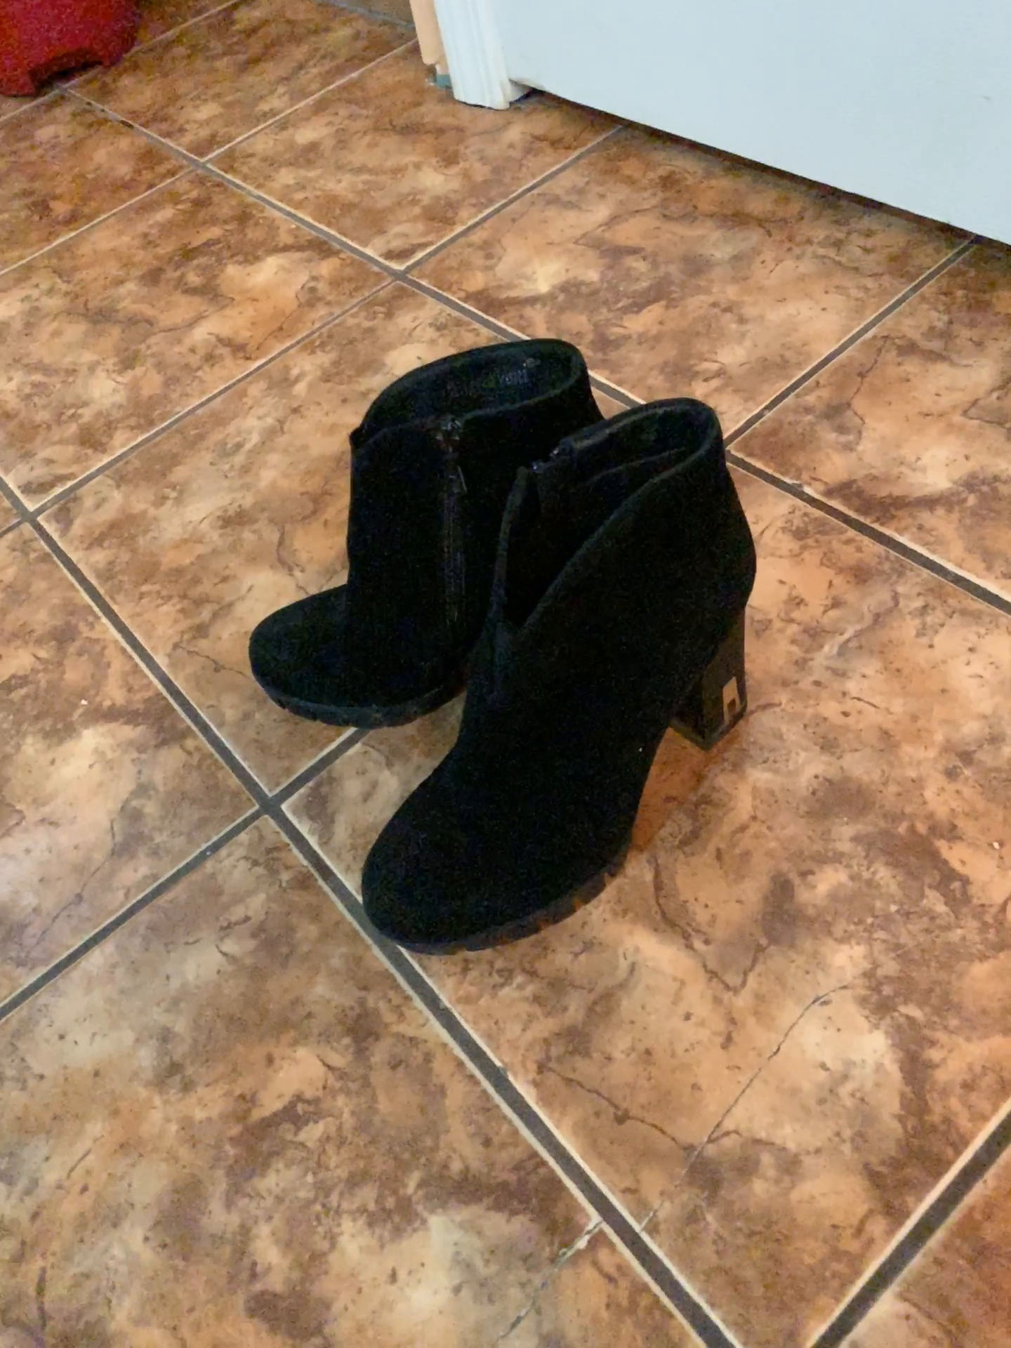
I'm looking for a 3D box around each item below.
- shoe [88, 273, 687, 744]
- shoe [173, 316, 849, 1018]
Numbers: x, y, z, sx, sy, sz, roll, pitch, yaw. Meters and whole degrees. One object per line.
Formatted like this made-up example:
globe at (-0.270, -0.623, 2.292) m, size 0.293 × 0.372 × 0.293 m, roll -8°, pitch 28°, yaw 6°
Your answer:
shoe at (-0.038, -0.066, 0.494) m, size 0.229 × 0.180 × 0.094 m, roll -6°, pitch 52°, yaw 9°
shoe at (0.019, 0.002, 0.428) m, size 0.229 × 0.180 × 0.094 m, roll -36°, pitch 53°, yaw -14°
